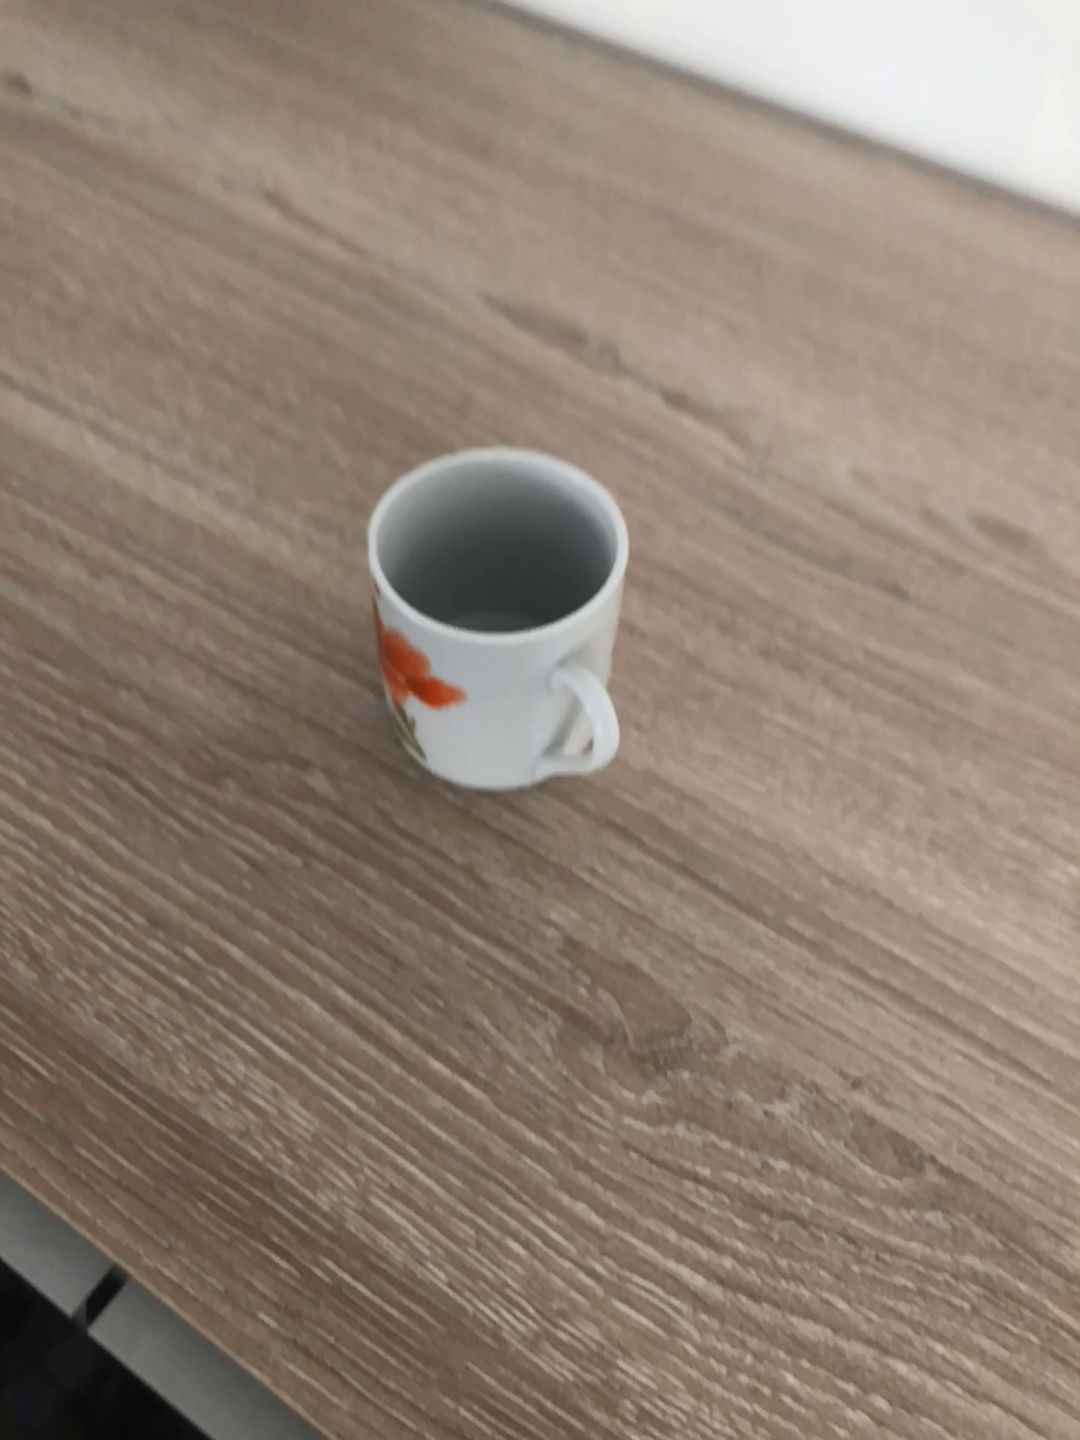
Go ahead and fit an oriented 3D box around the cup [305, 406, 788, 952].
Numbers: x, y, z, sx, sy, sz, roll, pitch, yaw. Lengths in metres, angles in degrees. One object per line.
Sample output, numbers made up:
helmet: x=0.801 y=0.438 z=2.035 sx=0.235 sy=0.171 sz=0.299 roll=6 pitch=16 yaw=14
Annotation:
cup: x=-0.002 y=-0.010 z=0.255 sx=0.060 sy=0.060 sz=0.080 roll=-24 pitch=59 yaw=-19
